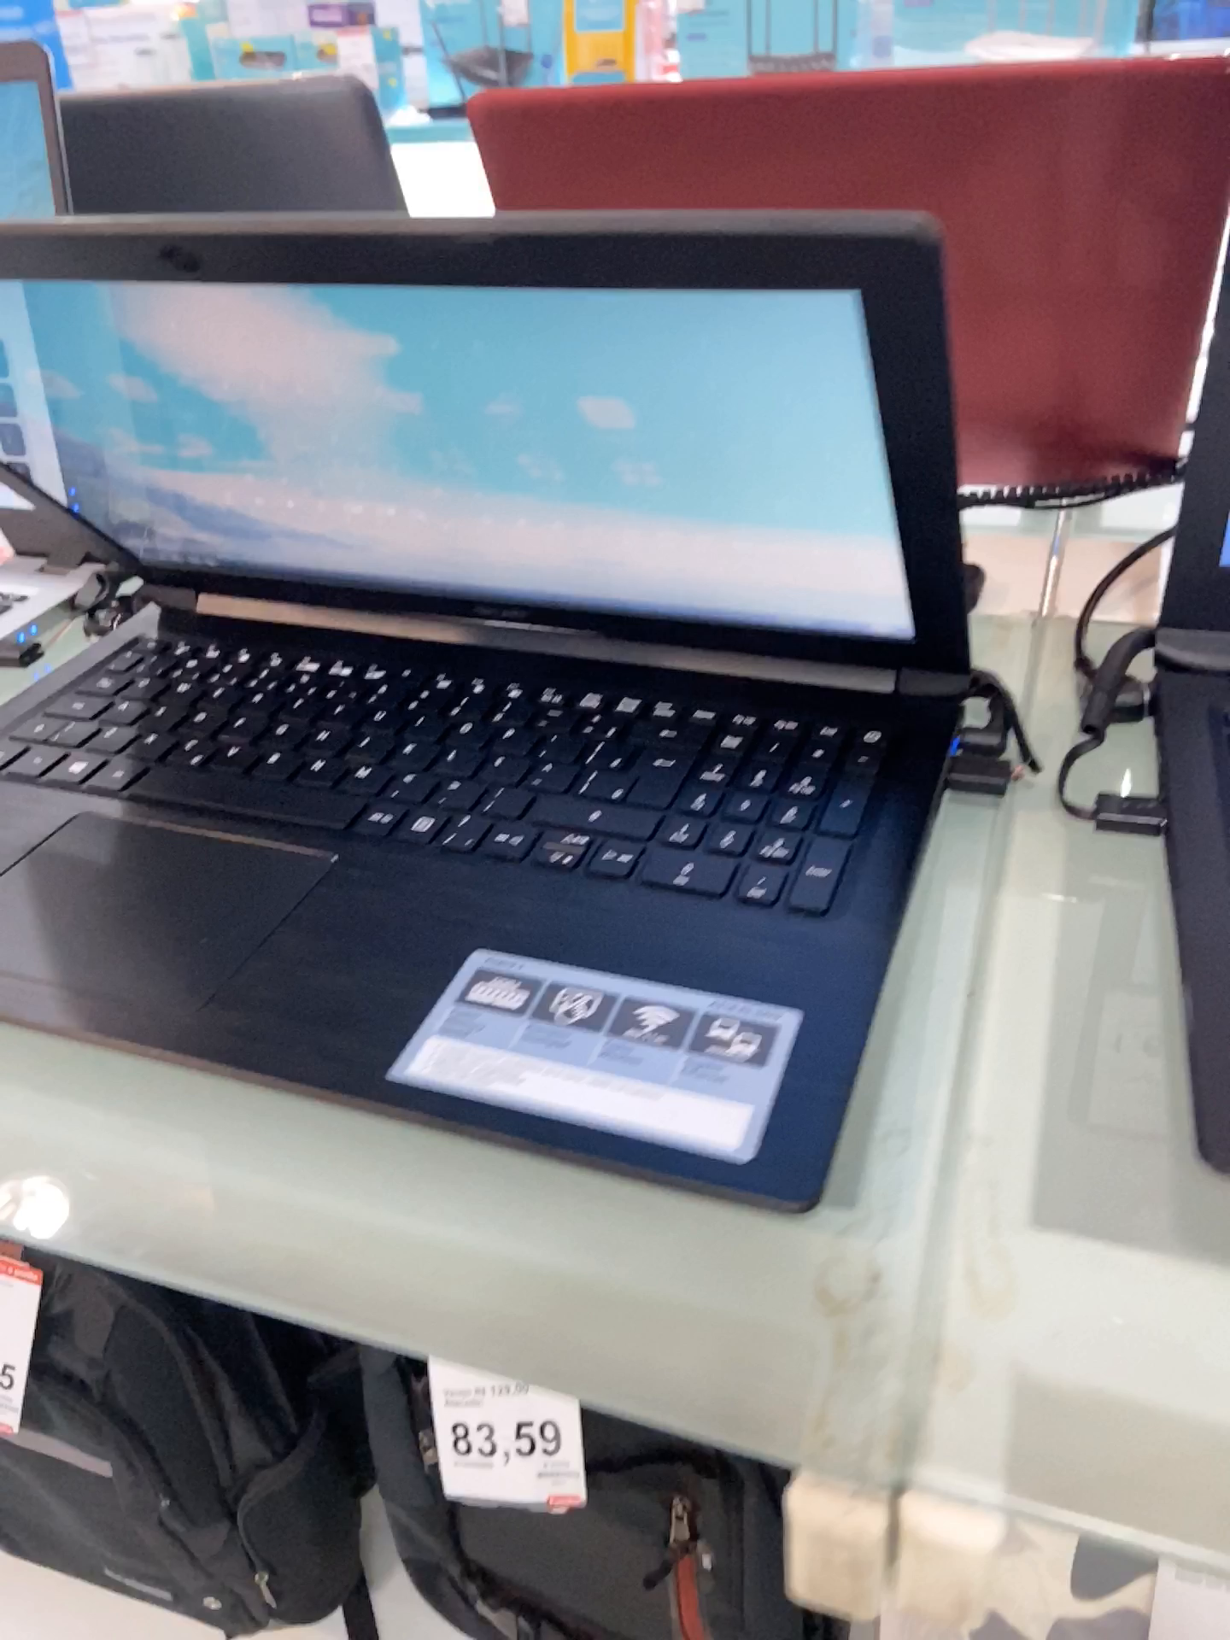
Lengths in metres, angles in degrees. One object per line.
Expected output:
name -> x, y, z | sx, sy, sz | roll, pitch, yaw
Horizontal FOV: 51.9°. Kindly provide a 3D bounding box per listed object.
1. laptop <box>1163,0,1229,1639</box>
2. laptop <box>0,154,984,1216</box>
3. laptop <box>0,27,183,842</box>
laptop -> 0.370, -0.082, 0.275 | 0.431, 0.245, 0.286 | 6, 36, 16
laptop -> -0.100, -0.078, 0.394 | 0.373, 0.186, 0.235 | 9, 36, 20
laptop -> -0.484, -0.199, 0.583 | 0.395, 0.233, 0.303 | 8, 36, 21
